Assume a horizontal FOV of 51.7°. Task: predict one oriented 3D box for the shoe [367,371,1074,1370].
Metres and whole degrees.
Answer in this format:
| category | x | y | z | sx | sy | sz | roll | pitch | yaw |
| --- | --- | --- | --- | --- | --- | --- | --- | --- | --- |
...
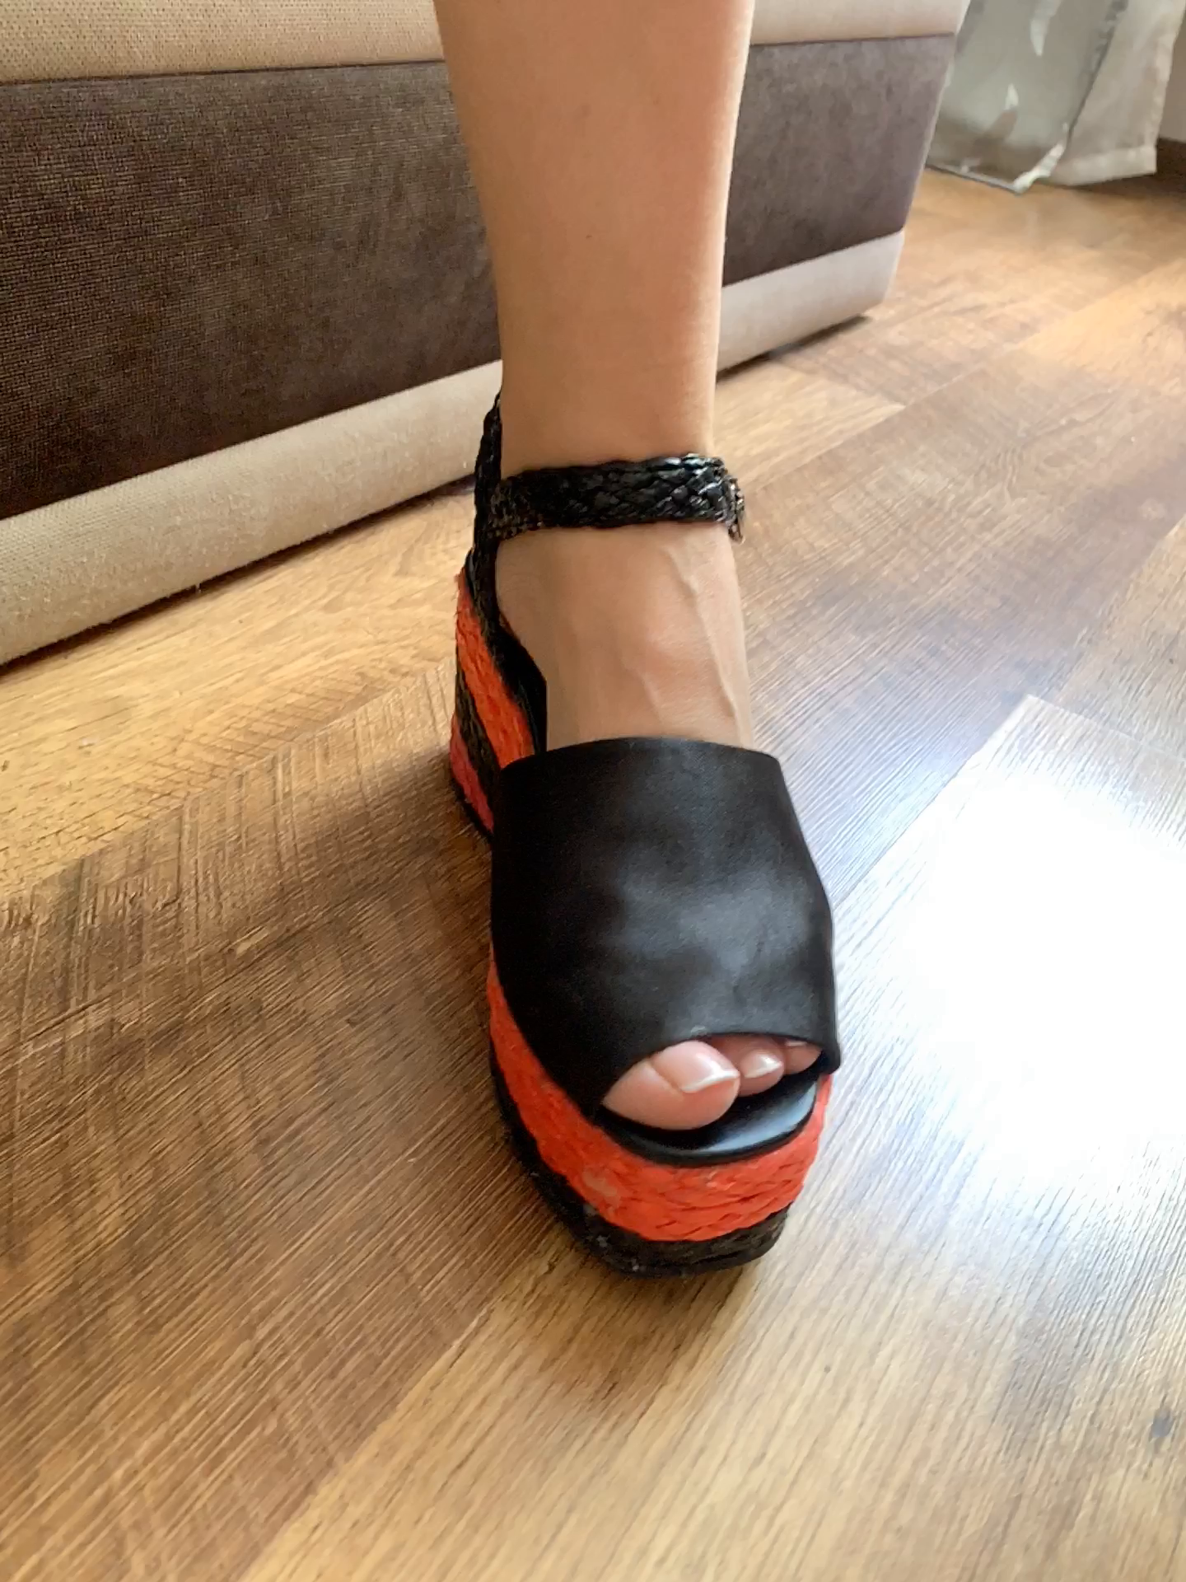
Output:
| category | x | y | z | sx | sy | sz | roll | pitch | yaw |
| --- | --- | --- | --- | --- | --- | --- | --- | --- | --- |
| shoe | 0.000 | -0.005 | 0.321 | 0.089 | 0.124 | 0.241 | -3 | 38 | -16 |
